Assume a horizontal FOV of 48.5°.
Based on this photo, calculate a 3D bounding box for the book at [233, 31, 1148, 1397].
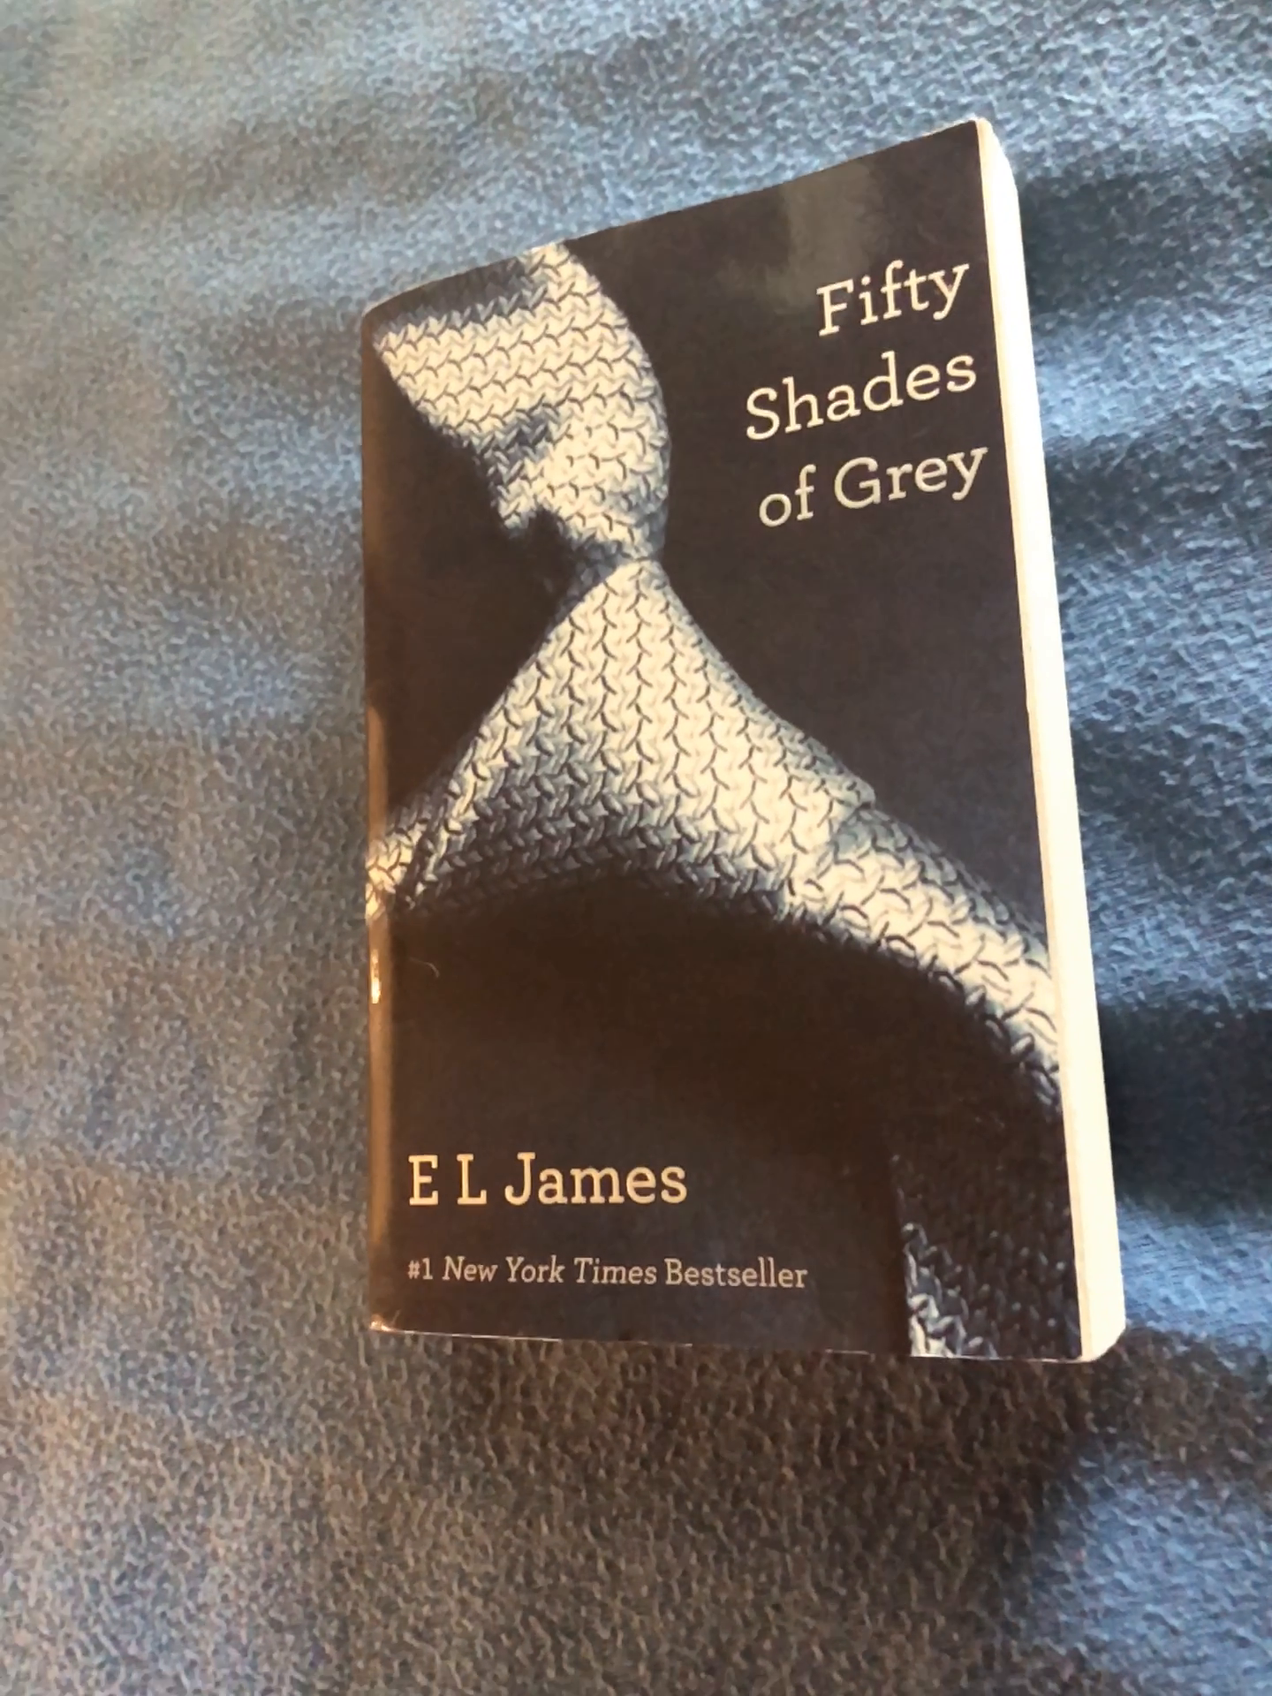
[{"bbox_3d":[0.002,-0.019,0.258,0.150,0.040,0.210,-7,77,25],"label":"book"}]
